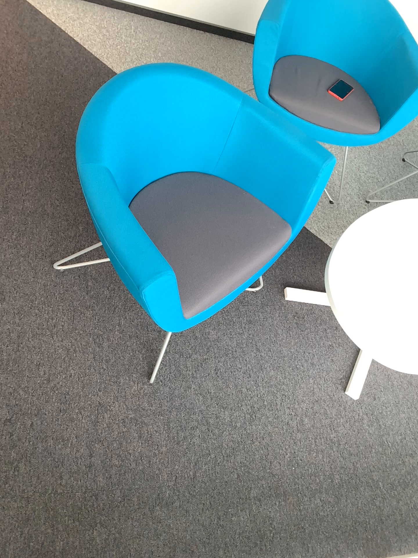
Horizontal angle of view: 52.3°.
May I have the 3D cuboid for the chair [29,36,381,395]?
[{"bbox_3d":[-0.065,-0.185,1.427,0.713,0.757,0.640,-36,78,-32],"label":"chair"}]
